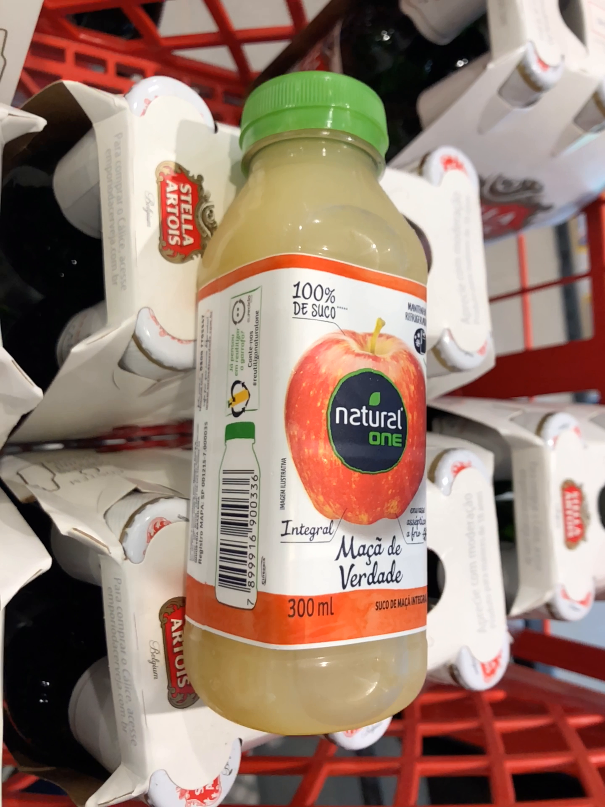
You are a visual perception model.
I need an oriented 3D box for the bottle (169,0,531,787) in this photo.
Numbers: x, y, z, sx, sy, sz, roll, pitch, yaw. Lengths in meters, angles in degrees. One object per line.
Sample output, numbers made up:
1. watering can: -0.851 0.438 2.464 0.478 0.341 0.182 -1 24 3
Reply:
1. bottle: 0.006 -0.018 0.171 0.060 0.060 0.180 3 82 -32
